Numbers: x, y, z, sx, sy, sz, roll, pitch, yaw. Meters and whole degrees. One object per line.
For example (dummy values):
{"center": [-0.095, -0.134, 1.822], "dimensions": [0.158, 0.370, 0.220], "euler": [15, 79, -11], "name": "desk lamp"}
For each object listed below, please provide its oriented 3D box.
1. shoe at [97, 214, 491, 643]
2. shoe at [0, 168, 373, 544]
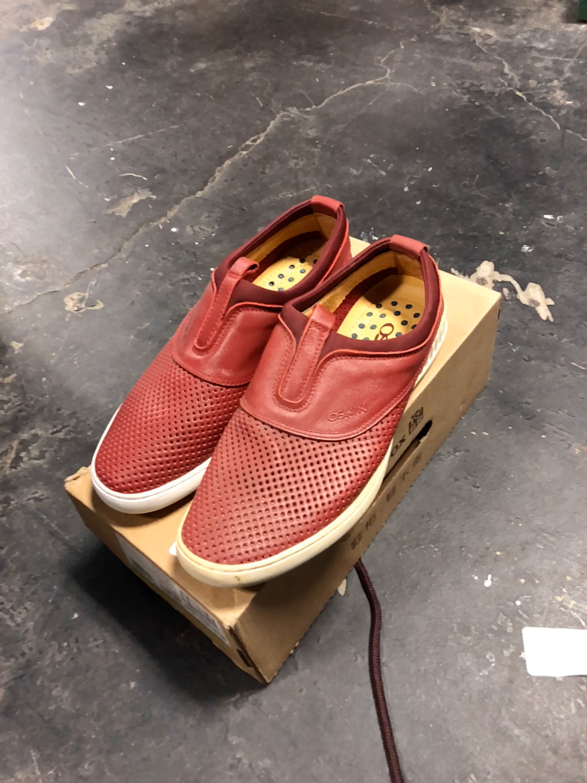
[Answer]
{"center": [0.016, 0.009, 0.407], "dimensions": [0.100, 0.089, 0.251], "euler": [26, 60, 27], "name": "shoe"}
{"center": [-0.056, -0.037, 0.448], "dimensions": [0.100, 0.089, 0.251], "euler": [26, 60, 27], "name": "shoe"}
